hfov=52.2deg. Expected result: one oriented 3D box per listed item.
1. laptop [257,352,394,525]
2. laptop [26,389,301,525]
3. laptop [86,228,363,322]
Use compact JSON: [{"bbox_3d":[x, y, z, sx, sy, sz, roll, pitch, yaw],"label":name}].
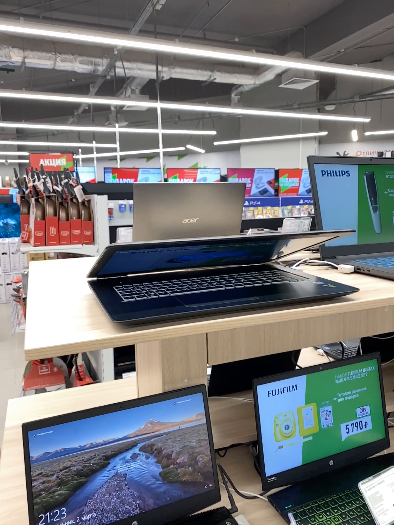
[{"bbox_3d":[0.347,0.369,0.804,0.353,0.226,0.299,-5,8,-22],"label":"laptop"},{"bbox_3d":[-0.077,0.400,0.647,0.343,0.220,0.315,-3,7,-24],"label":"laptop"},{"bbox_3d":[0.032,-0.001,0.707,0.404,0.084,0.271,-4,10,-22],"label":"laptop"}]
